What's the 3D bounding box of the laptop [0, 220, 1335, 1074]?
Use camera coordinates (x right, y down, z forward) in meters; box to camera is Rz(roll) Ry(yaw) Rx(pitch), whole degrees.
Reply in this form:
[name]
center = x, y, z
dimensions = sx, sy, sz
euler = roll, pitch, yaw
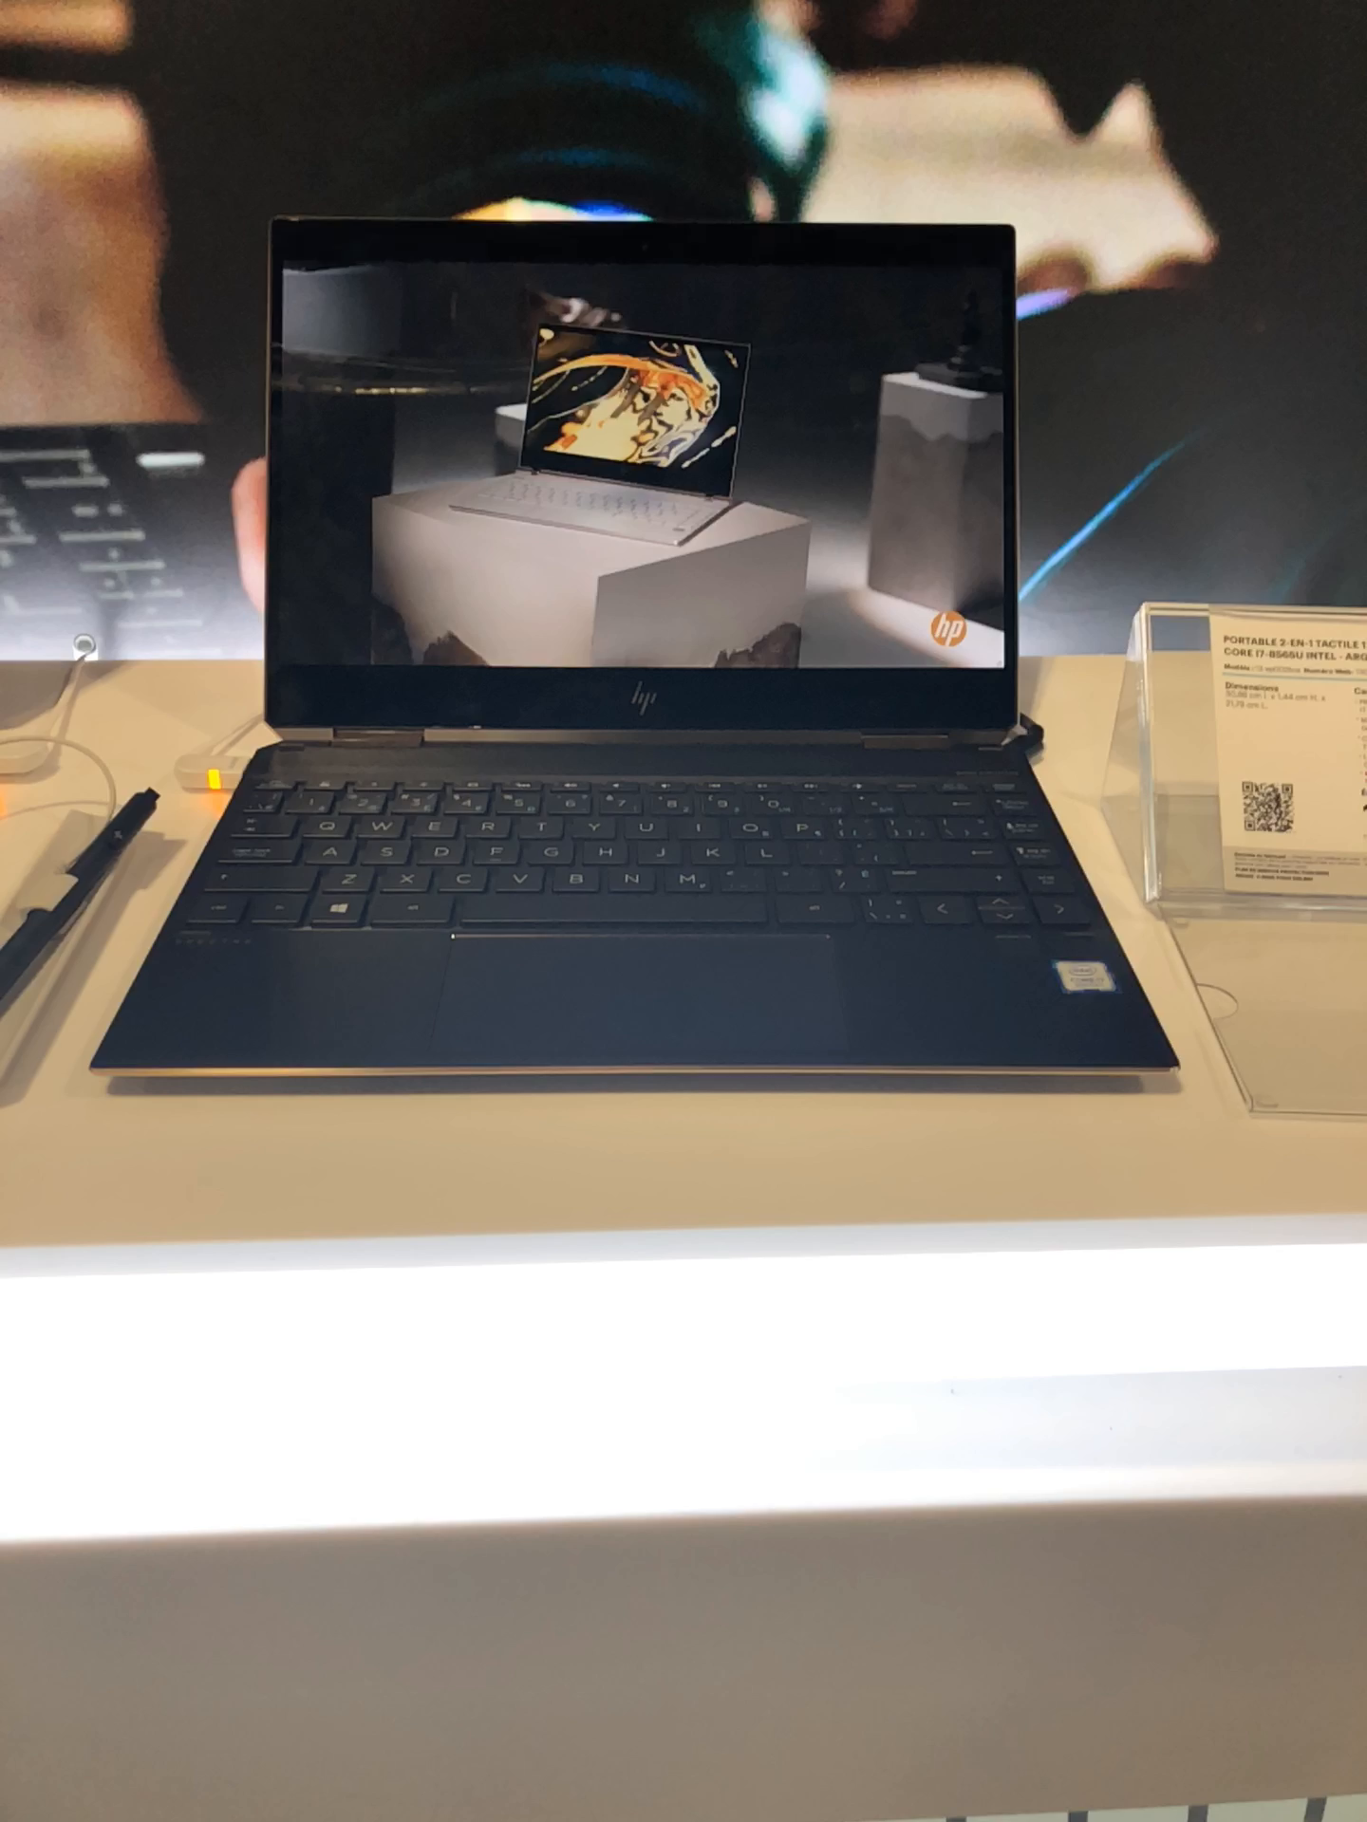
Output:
[laptop]
center = -0.012, -0.121, 0.517
dimensions = 0.305, 0.172, 0.347
euler = 0, 31, -1
